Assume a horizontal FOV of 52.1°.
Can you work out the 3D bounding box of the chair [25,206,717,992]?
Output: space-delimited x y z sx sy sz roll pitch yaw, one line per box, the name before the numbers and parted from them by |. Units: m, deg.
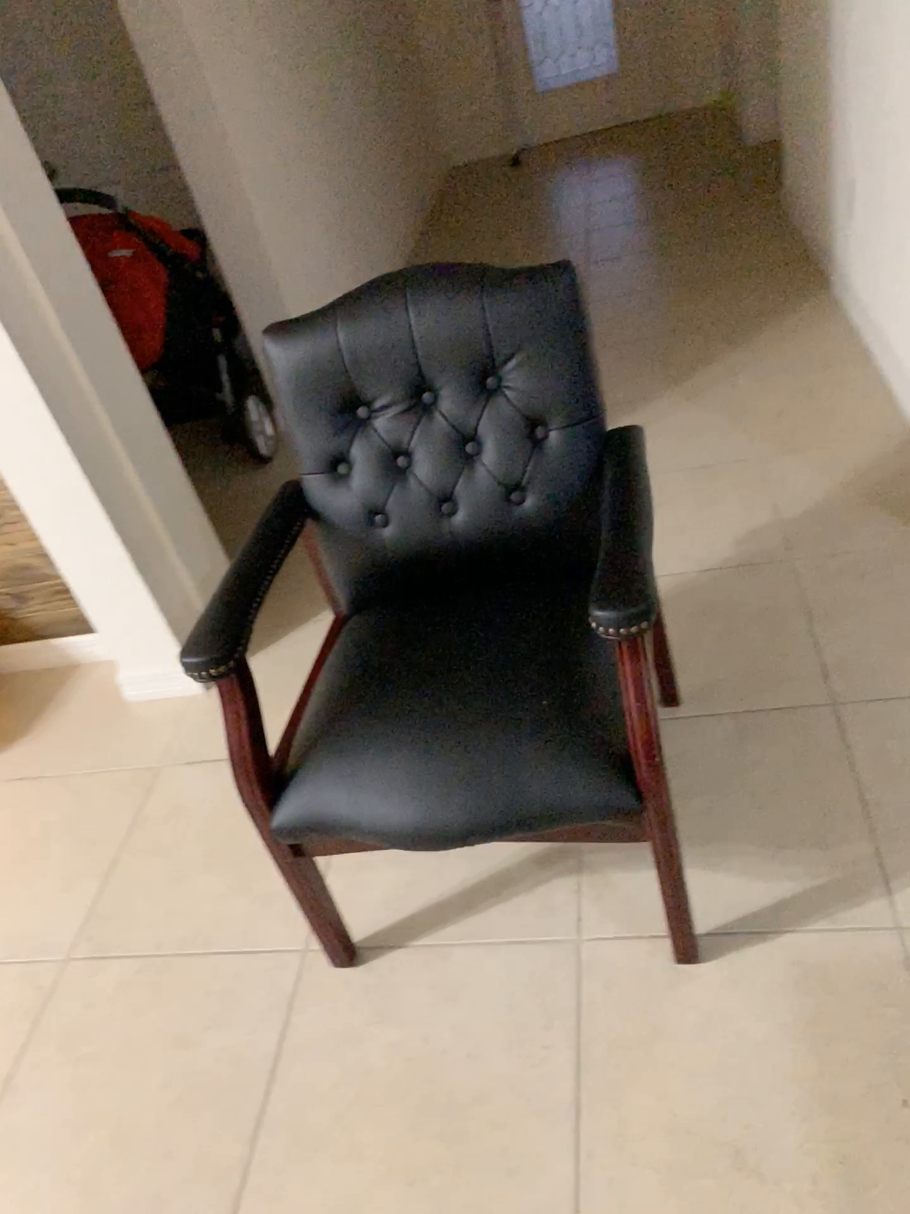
chair | 0.002 0.018 1.414 0.632 0.908 0.660 -7 35 14
